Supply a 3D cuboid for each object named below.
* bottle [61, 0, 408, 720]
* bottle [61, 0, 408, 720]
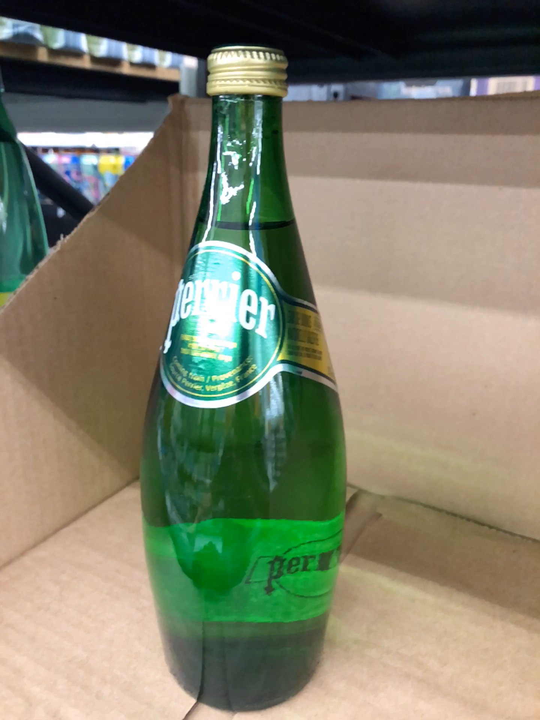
[{"bbox_3d":[-0.011,0.014,0.251,0.090,0.268,0.080,11,21,28],"label":"bottle"},{"bbox_3d":[-0.011,0.014,0.251,0.090,0.268,0.080,11,21,28],"label":"bottle"}]
